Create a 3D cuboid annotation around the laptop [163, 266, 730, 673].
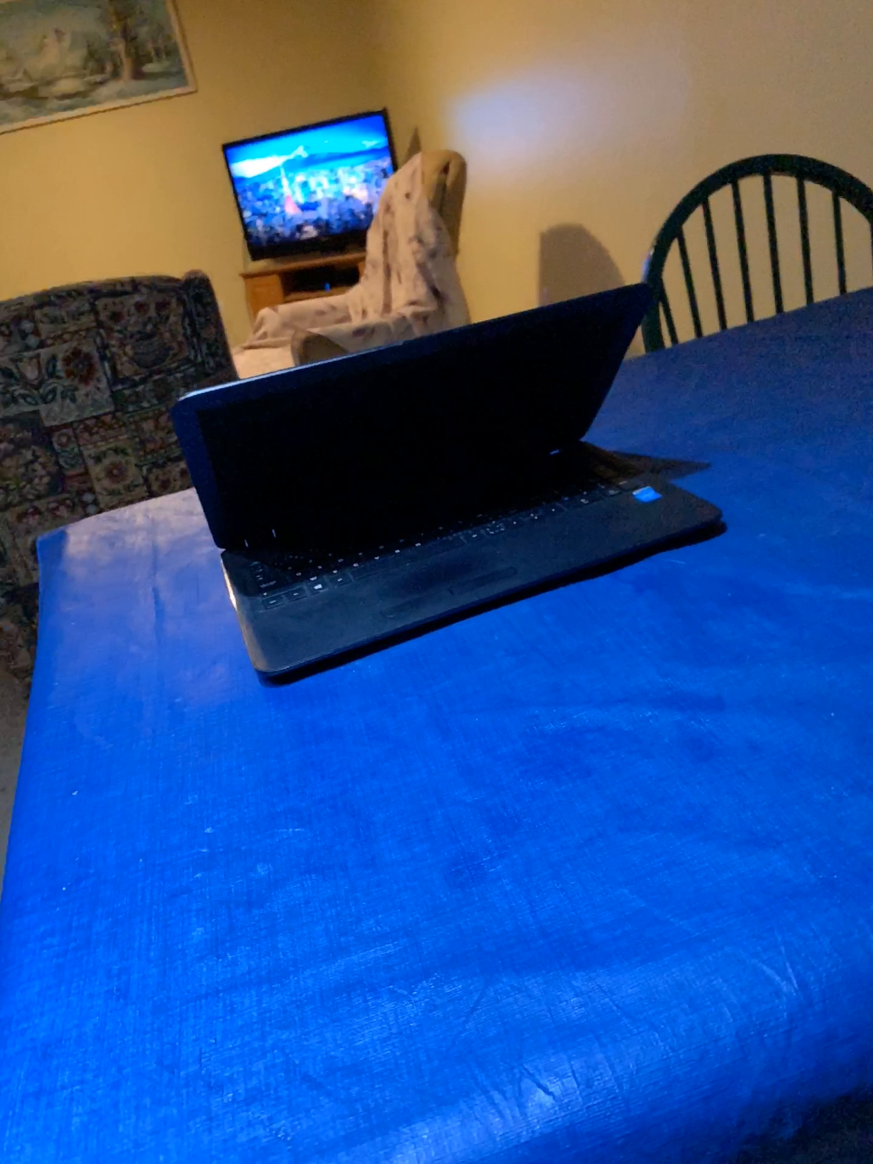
[{"bbox_3d":[-0.005,-0.115,0.722,0.370,0.167,0.253,-18,27,-11],"label":"laptop"}]
